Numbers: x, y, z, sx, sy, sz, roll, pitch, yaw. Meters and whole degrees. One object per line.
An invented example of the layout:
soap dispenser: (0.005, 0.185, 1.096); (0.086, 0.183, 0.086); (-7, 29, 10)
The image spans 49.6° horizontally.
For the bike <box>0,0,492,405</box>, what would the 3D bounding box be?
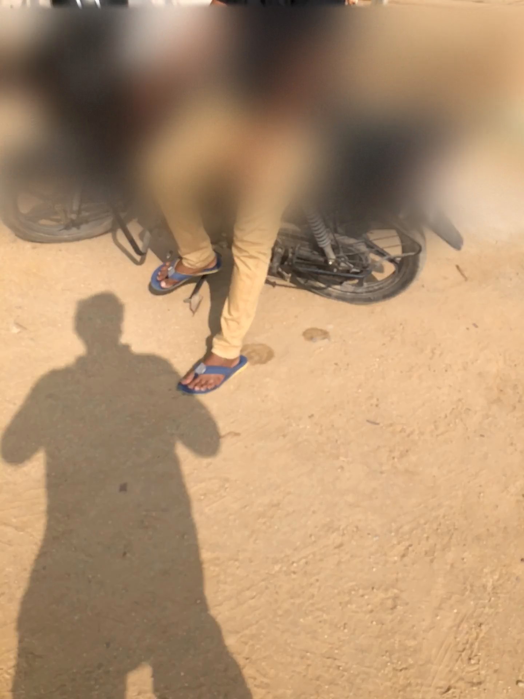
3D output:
bike: (-0.249, -0.668, 2.036); (1.690, 1.214, 0.885); (8, 38, 5)
